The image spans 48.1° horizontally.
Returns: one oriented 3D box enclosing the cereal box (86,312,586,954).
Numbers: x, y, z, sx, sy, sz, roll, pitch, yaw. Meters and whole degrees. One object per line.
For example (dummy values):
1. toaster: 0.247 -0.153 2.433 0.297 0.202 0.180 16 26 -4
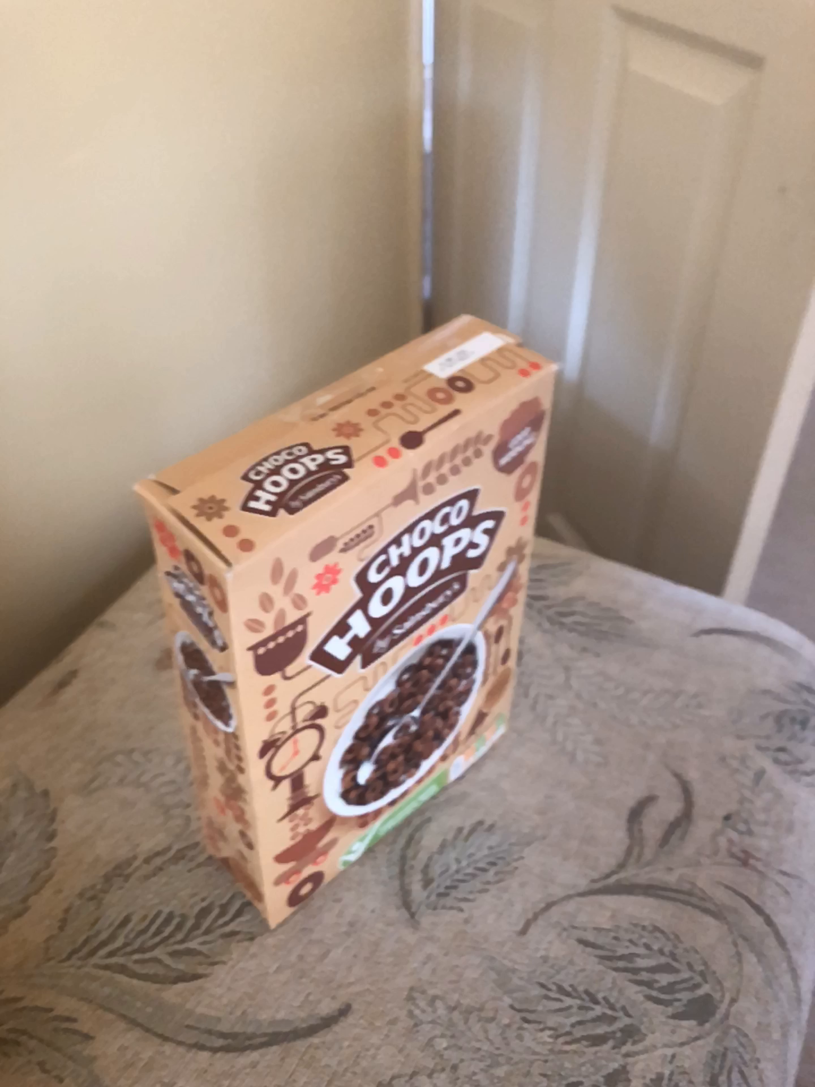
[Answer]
1. cereal box: -0.021 0.048 0.469 0.080 0.258 0.211 33 50 32
